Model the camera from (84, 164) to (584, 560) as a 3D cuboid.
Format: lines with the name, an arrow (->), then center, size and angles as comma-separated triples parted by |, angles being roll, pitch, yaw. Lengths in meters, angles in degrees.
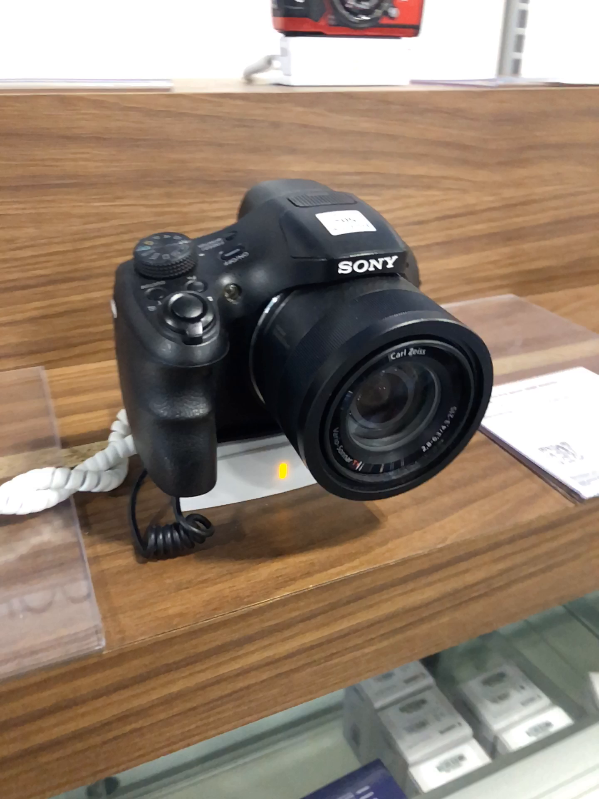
camera -> 0.002, -0.032, 0.254 | 0.130, 0.089, 0.131 | -12, 29, -23
